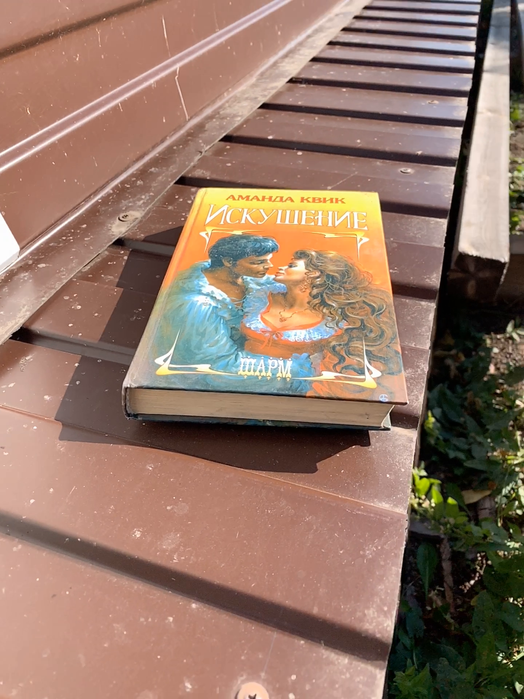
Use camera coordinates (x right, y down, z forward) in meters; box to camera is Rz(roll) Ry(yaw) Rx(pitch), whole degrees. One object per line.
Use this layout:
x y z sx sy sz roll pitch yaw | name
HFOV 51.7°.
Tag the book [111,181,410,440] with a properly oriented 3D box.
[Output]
0.008 -0.040 0.321 0.134 0.024 0.201 3 44 5 | book
